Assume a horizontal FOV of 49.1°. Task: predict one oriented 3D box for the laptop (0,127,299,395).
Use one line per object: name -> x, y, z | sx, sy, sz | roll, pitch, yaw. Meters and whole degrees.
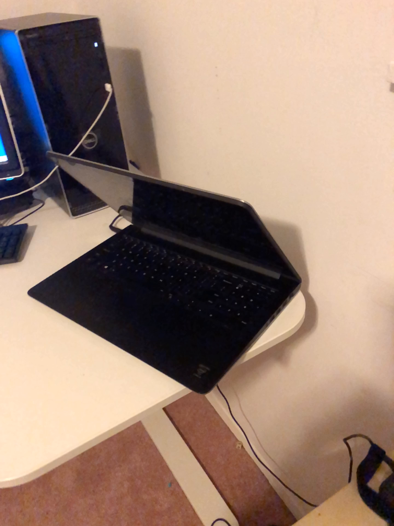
laptop -> -0.076, -0.042, 0.650 | 0.374, 0.207, 0.251 | 21, 43, 35
